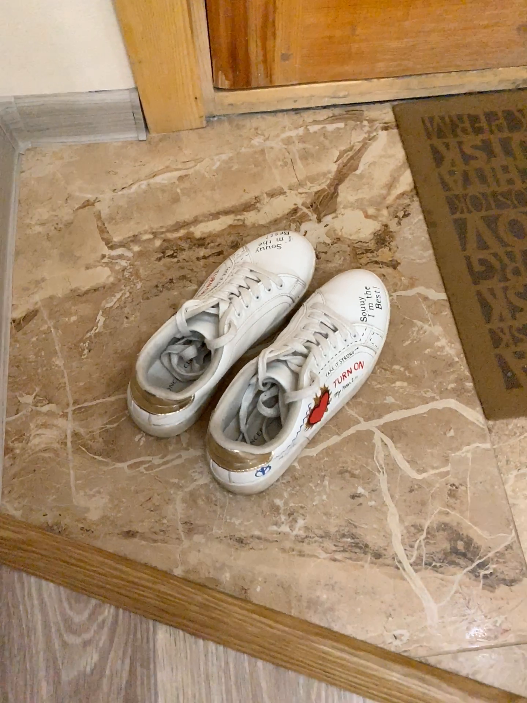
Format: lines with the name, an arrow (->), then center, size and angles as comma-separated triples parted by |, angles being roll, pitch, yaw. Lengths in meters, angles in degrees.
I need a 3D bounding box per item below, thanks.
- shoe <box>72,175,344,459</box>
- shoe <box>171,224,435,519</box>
shoe -> -0.041, -0.036, 0.509 | 0.092, 0.080, 0.256 | 36, 72, 14
shoe -> 0.041, 0.014, 0.497 | 0.092, 0.080, 0.256 | 35, 71, 14
